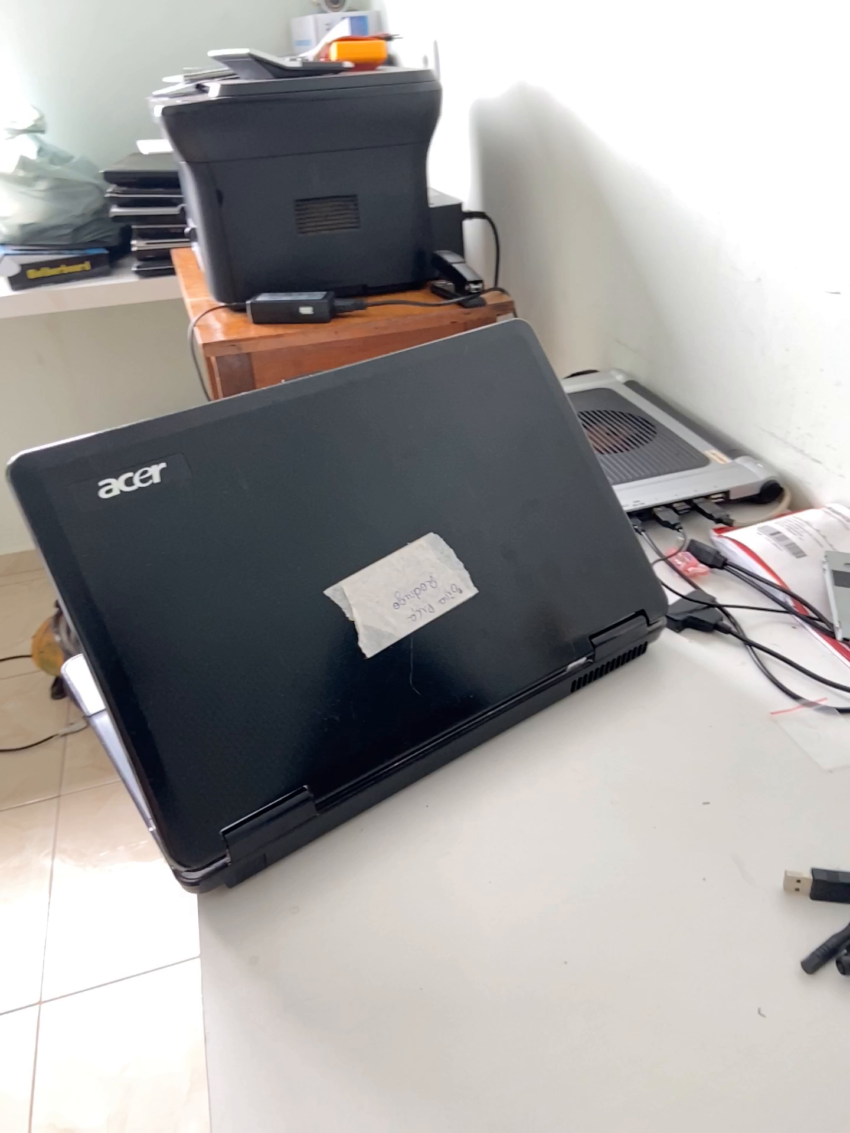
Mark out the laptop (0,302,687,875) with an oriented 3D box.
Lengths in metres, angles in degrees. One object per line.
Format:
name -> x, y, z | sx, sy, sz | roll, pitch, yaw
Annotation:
laptop -> -0.048, -0.026, 0.582 | 0.367, 0.183, 0.233 | -23, 35, -27
